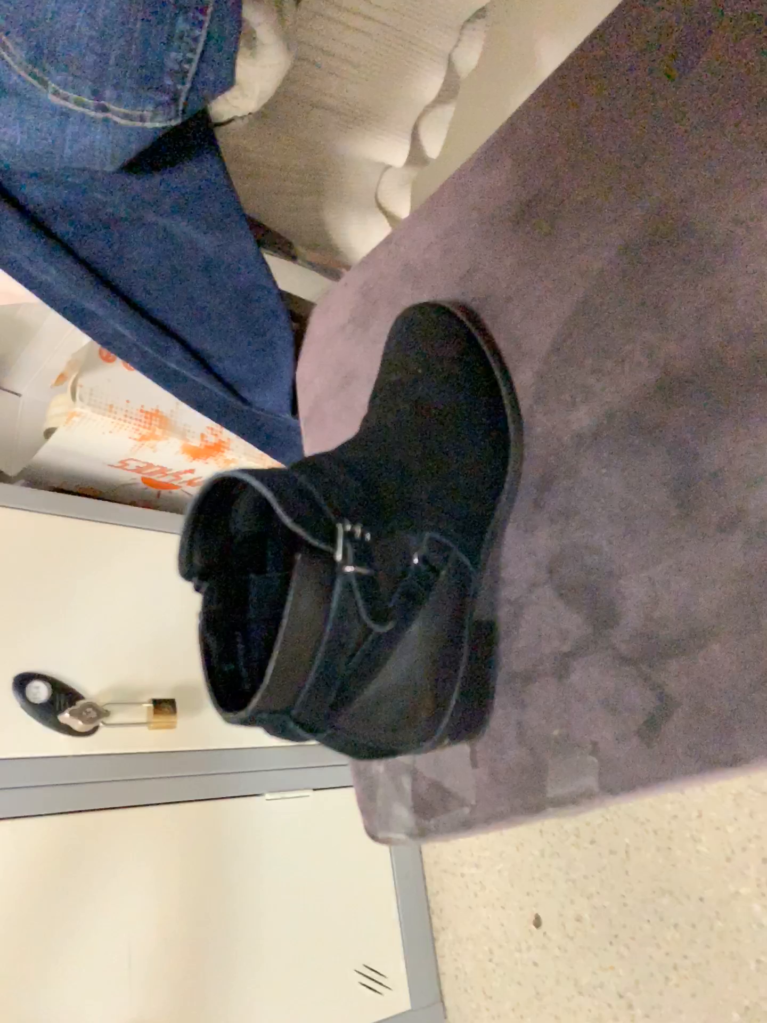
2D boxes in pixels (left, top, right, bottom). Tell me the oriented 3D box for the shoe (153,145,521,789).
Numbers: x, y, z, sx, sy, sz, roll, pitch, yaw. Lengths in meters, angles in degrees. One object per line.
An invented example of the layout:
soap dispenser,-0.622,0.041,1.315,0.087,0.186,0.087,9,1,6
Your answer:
shoe,-0.015,-0.011,0.391,0.106,0.135,0.265,-11,72,46
